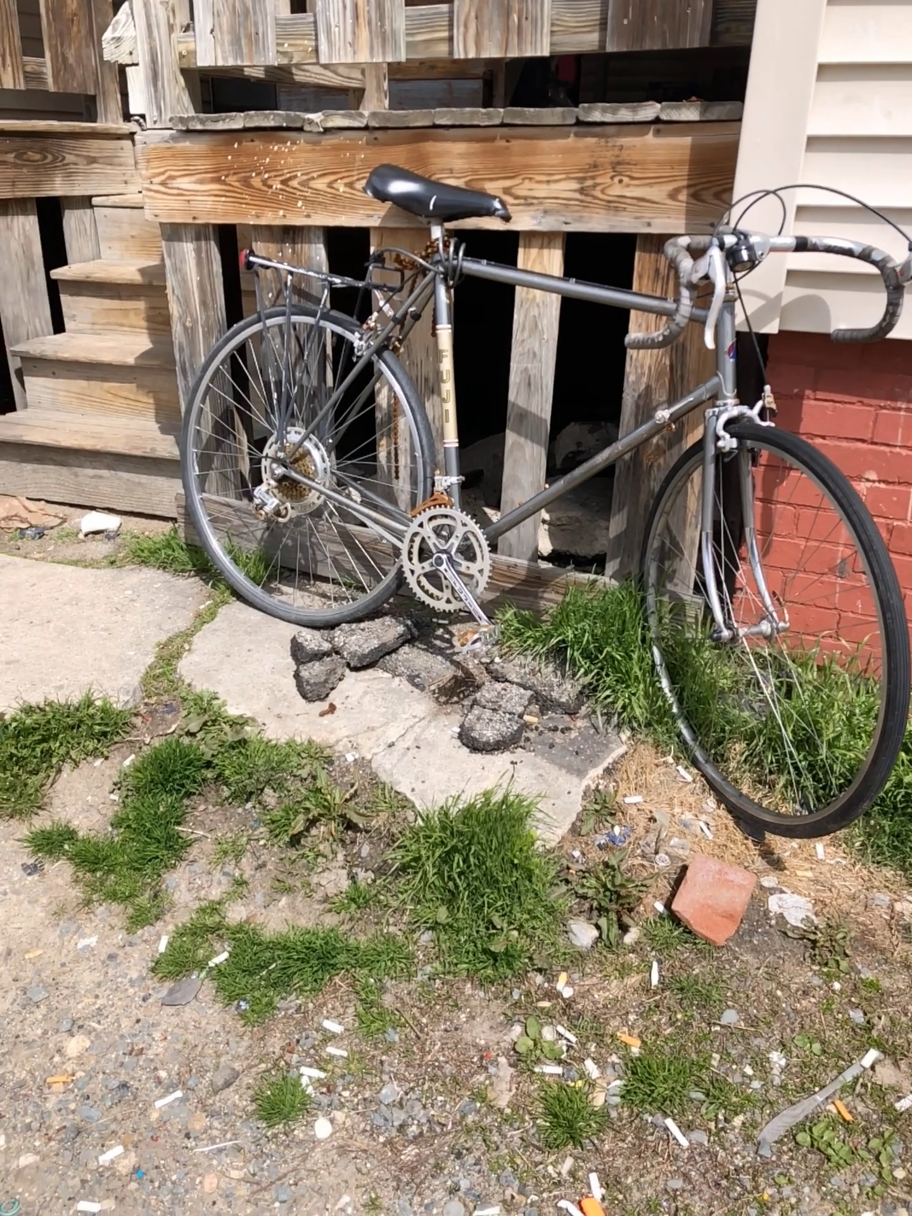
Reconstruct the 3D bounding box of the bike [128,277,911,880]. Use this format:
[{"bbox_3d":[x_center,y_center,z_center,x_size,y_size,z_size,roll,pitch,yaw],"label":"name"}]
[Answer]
[{"bbox_3d":[0.056,-0.168,1.450,1.202,0.478,0.400,19,29,35],"label":"bike"}]
